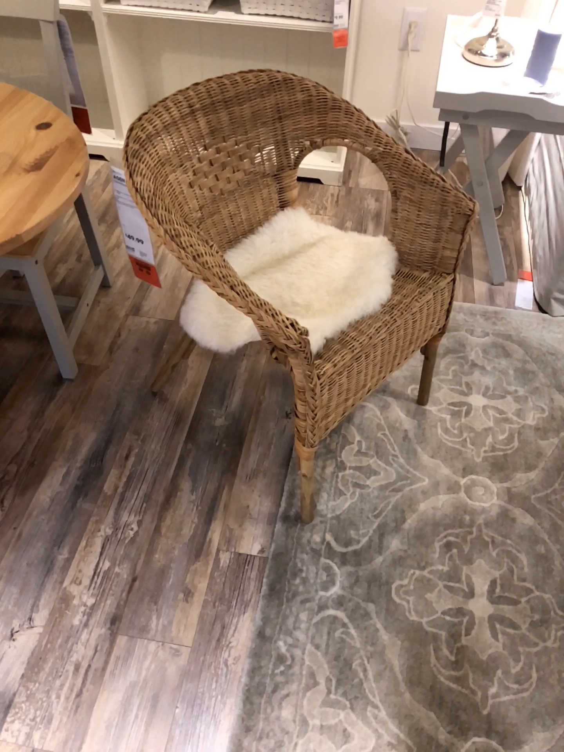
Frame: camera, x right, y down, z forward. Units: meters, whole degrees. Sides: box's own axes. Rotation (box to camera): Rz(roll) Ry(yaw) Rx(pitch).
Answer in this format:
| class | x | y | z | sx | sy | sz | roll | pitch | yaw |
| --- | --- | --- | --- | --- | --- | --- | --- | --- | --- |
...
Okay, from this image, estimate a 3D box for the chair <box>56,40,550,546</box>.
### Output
| class | x | y | z | sx | sy | sz | roll | pitch | yaw |
| --- | --- | --- | --- | --- | --- | --- | --- | --- | --- |
| chair | 0.039 | -0.206 | 1.396 | 0.631 | 0.717 | 0.652 | 36 | 56 | 28 |
